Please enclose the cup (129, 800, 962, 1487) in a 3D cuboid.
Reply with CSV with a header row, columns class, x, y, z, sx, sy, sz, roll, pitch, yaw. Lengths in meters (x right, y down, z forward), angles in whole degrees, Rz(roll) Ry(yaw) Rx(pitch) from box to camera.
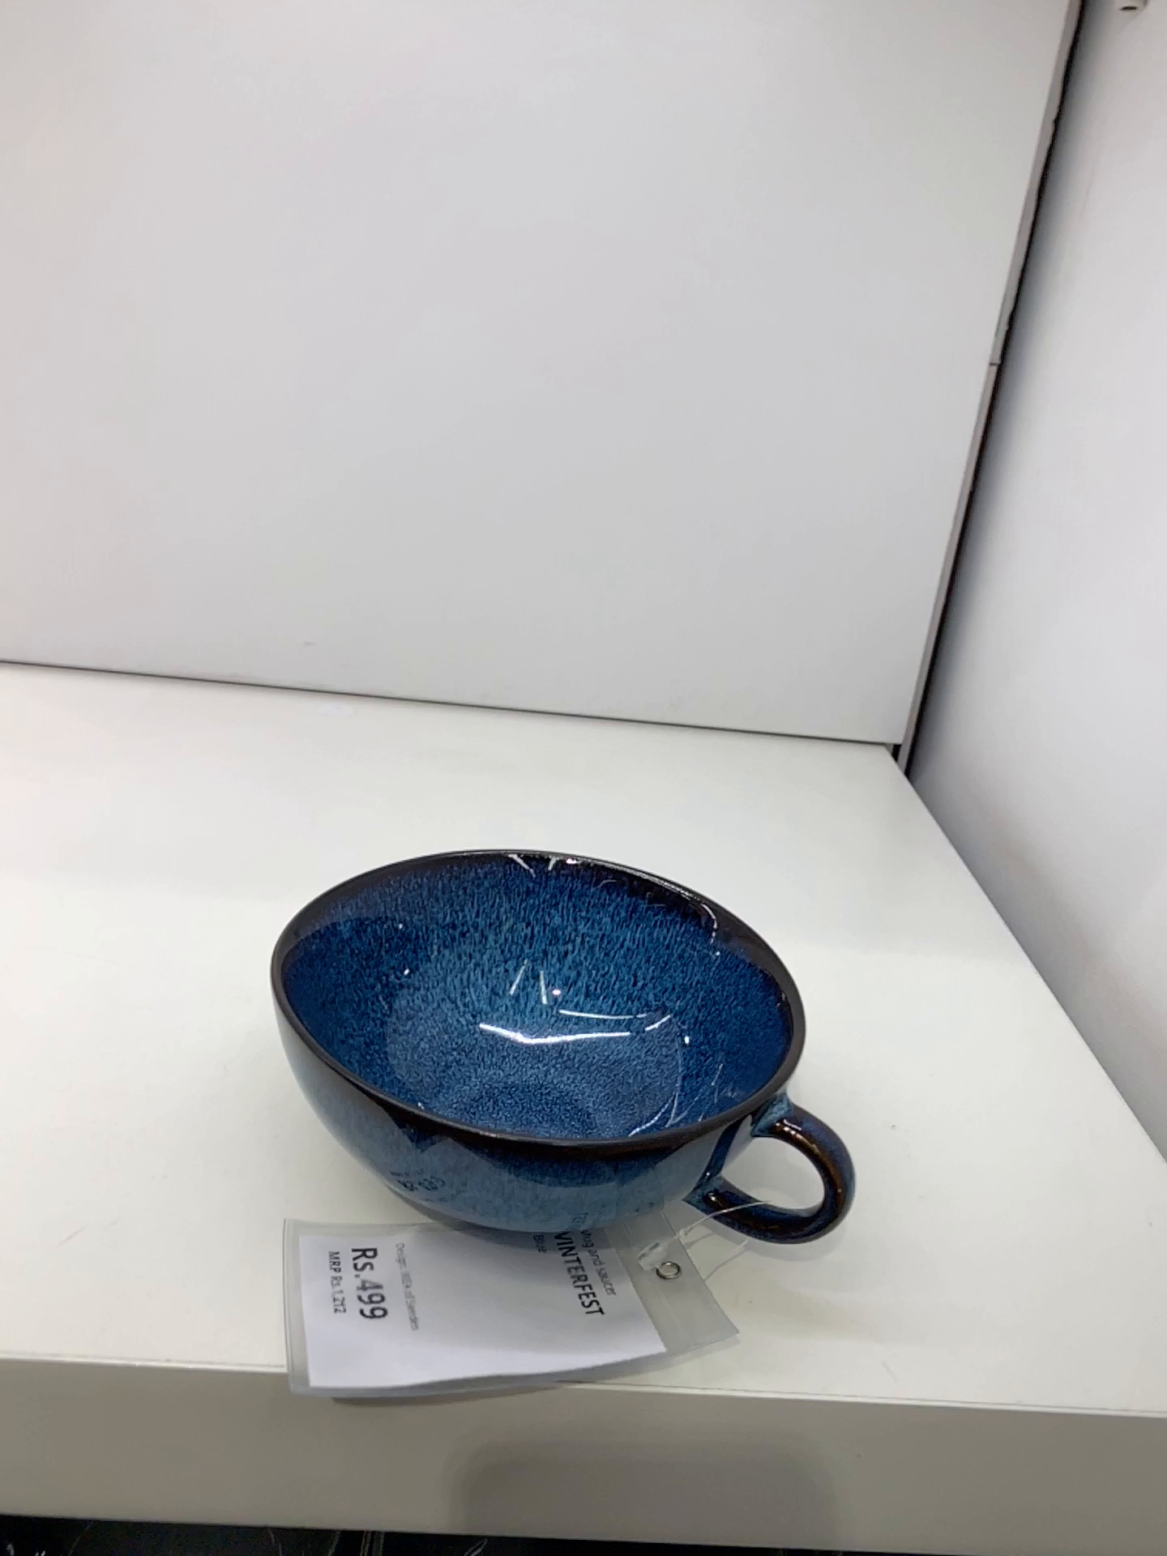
class,x,y,z,sx,sy,sz,roll,pitch,yaw
cup,-0.005,0.069,0.302,0.160,0.050,0.130,17,24,25
